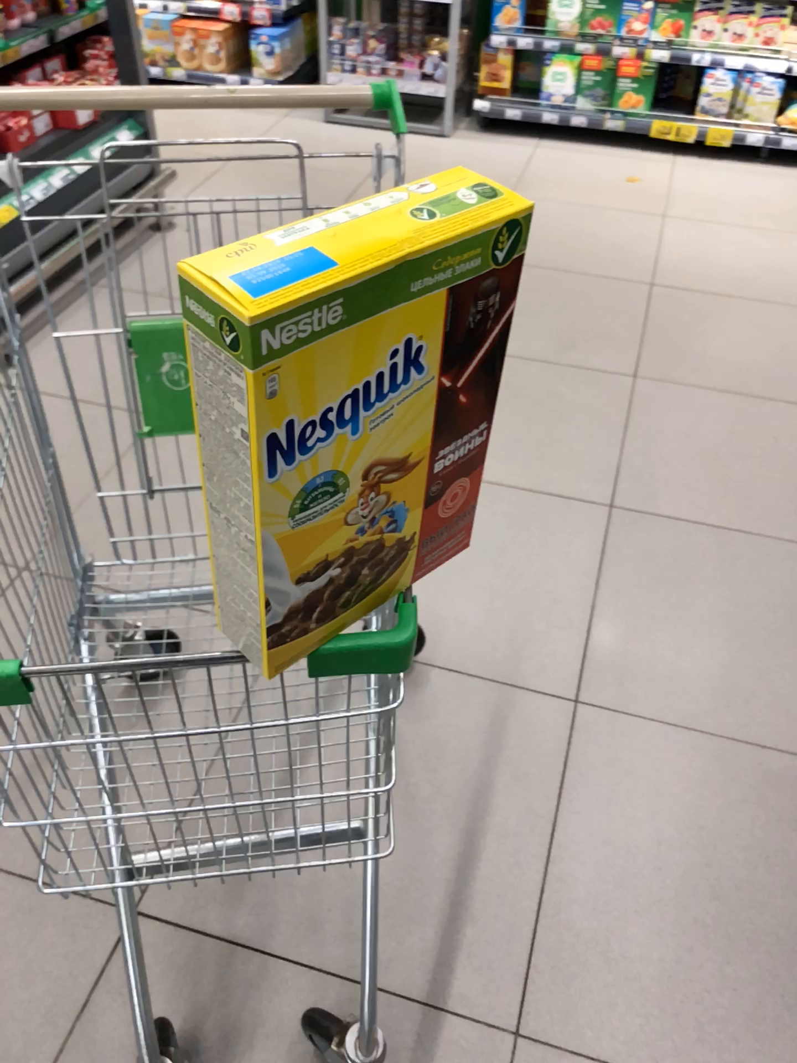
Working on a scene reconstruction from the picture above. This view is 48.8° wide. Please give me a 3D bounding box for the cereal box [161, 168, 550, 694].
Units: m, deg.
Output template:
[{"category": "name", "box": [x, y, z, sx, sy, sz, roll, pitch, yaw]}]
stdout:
[{"category": "cereal box", "box": [-0.024, -0.054, 0.539, 0.201, 0.268, 0.070, -31, 56, -31]}]
